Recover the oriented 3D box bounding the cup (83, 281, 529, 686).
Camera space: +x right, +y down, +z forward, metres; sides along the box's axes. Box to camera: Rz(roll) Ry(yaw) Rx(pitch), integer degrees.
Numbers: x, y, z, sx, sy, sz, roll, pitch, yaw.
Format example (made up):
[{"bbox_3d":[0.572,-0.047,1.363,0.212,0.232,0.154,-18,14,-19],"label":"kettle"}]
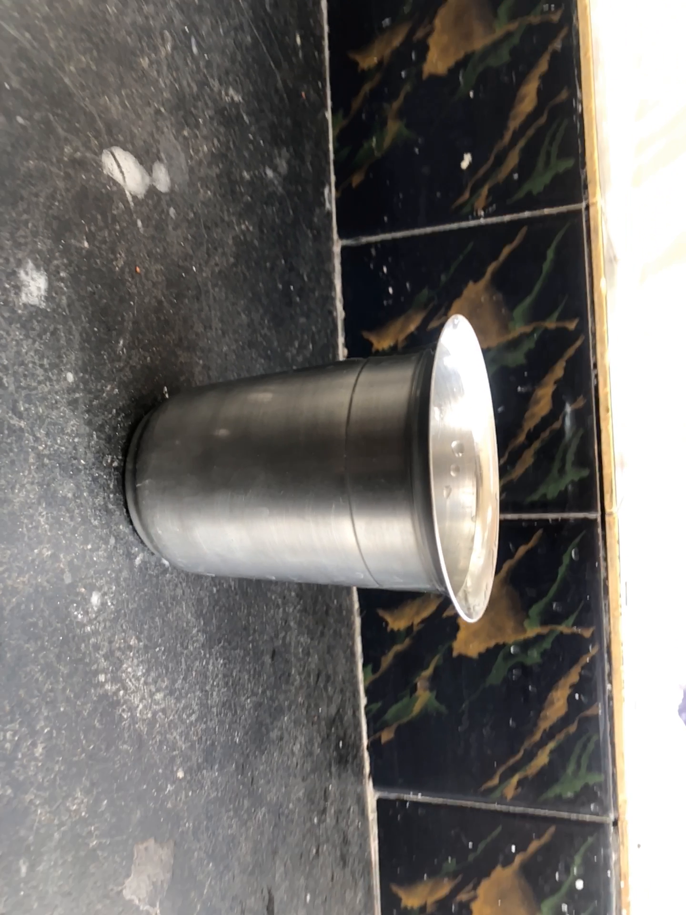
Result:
[{"bbox_3d":[-0.001,0.003,0.241,0.090,0.099,0.090,-3,90,-70],"label":"cup"}]
